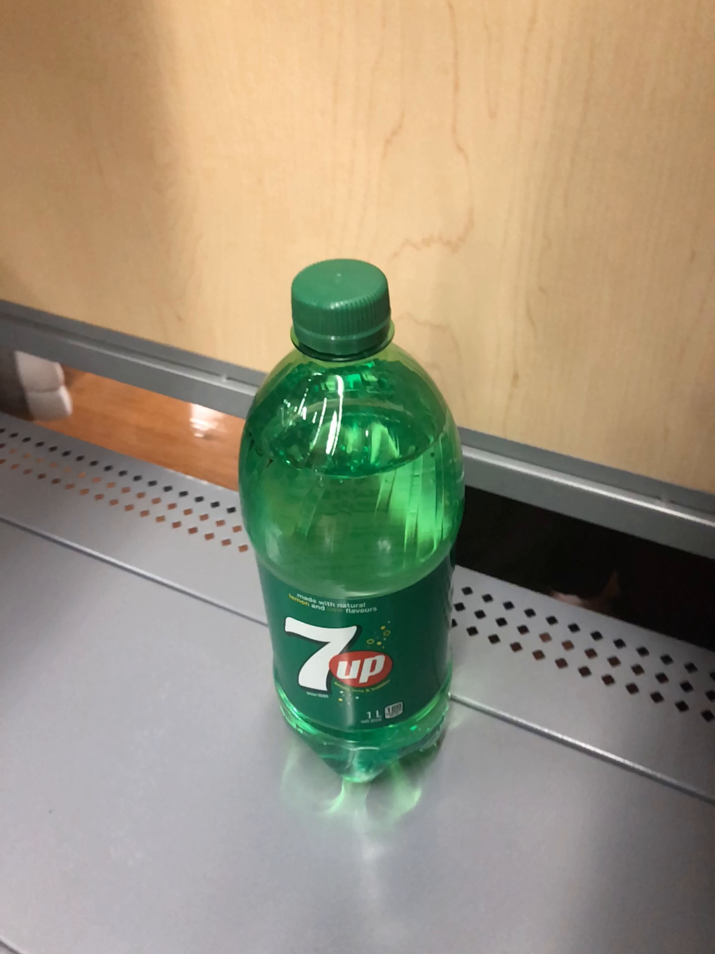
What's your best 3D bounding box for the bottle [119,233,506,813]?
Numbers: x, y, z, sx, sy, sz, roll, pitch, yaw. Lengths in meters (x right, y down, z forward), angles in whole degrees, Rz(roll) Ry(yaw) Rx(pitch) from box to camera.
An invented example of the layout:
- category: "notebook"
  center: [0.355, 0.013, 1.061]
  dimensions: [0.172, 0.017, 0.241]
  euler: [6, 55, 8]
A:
- category: "bottle"
  center: [-0.004, 0.035, 0.322]
  dimensions: [0.100, 0.238, 0.080]
  euler: [7, 44, 11]
